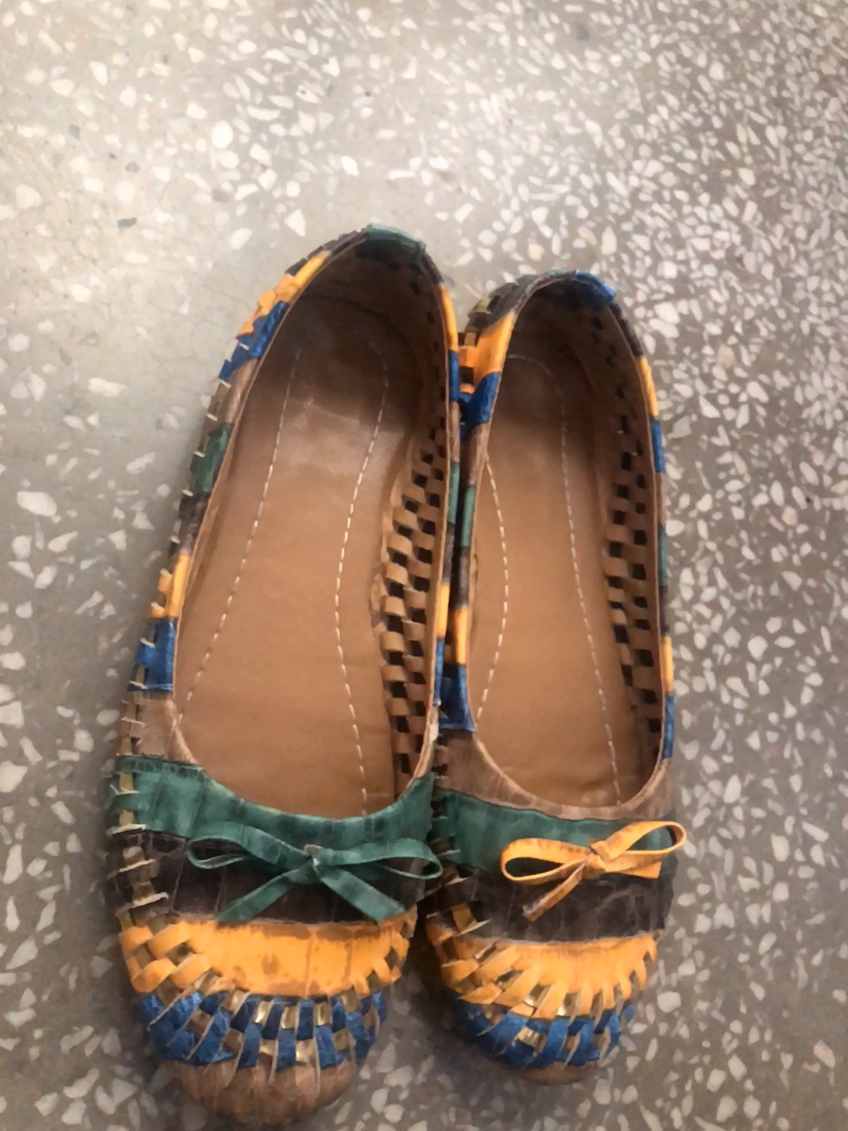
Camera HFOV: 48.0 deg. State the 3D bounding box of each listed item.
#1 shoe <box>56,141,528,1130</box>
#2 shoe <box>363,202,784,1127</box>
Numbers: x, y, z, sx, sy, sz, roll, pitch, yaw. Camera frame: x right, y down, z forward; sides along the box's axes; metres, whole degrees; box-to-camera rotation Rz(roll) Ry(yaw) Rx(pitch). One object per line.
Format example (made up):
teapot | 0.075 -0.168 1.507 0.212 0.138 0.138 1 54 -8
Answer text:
shoe | -0.033 0.019 0.263 0.090 0.074 0.237 10 73 -20
shoe | 0.037 0.023 0.292 0.090 0.074 0.237 5 74 -21
